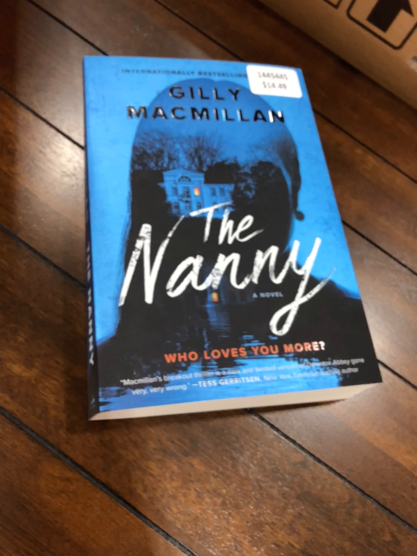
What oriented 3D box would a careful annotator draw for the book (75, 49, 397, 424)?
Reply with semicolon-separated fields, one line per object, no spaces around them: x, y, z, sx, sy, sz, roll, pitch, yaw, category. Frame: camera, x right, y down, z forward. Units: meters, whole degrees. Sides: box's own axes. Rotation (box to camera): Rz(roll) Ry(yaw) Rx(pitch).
0.004;-0.038;0.292;0.160;0.040;0.230;-1;65;-12;book
